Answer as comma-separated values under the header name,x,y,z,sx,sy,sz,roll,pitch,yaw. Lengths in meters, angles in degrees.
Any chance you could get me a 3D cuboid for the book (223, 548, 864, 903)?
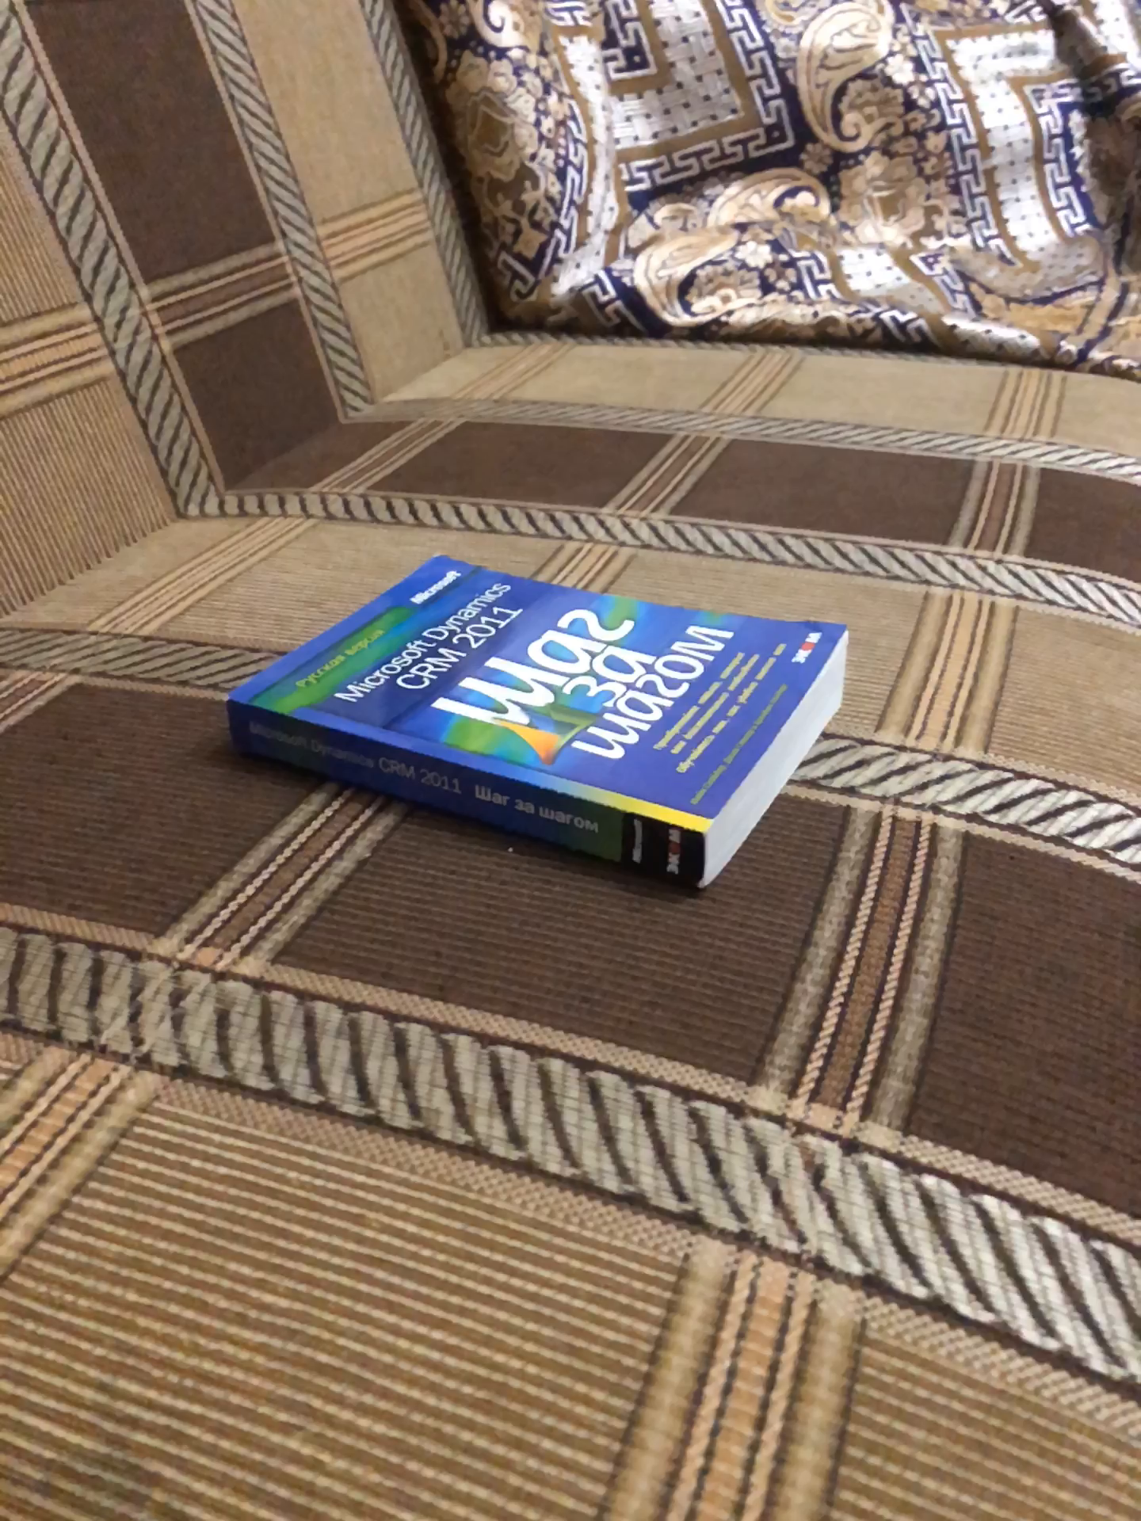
name,x,y,z,sx,sy,sz,roll,pitch,yaw
book,-0.006,-0.026,0.492,0.200,0.033,0.151,14,35,24
